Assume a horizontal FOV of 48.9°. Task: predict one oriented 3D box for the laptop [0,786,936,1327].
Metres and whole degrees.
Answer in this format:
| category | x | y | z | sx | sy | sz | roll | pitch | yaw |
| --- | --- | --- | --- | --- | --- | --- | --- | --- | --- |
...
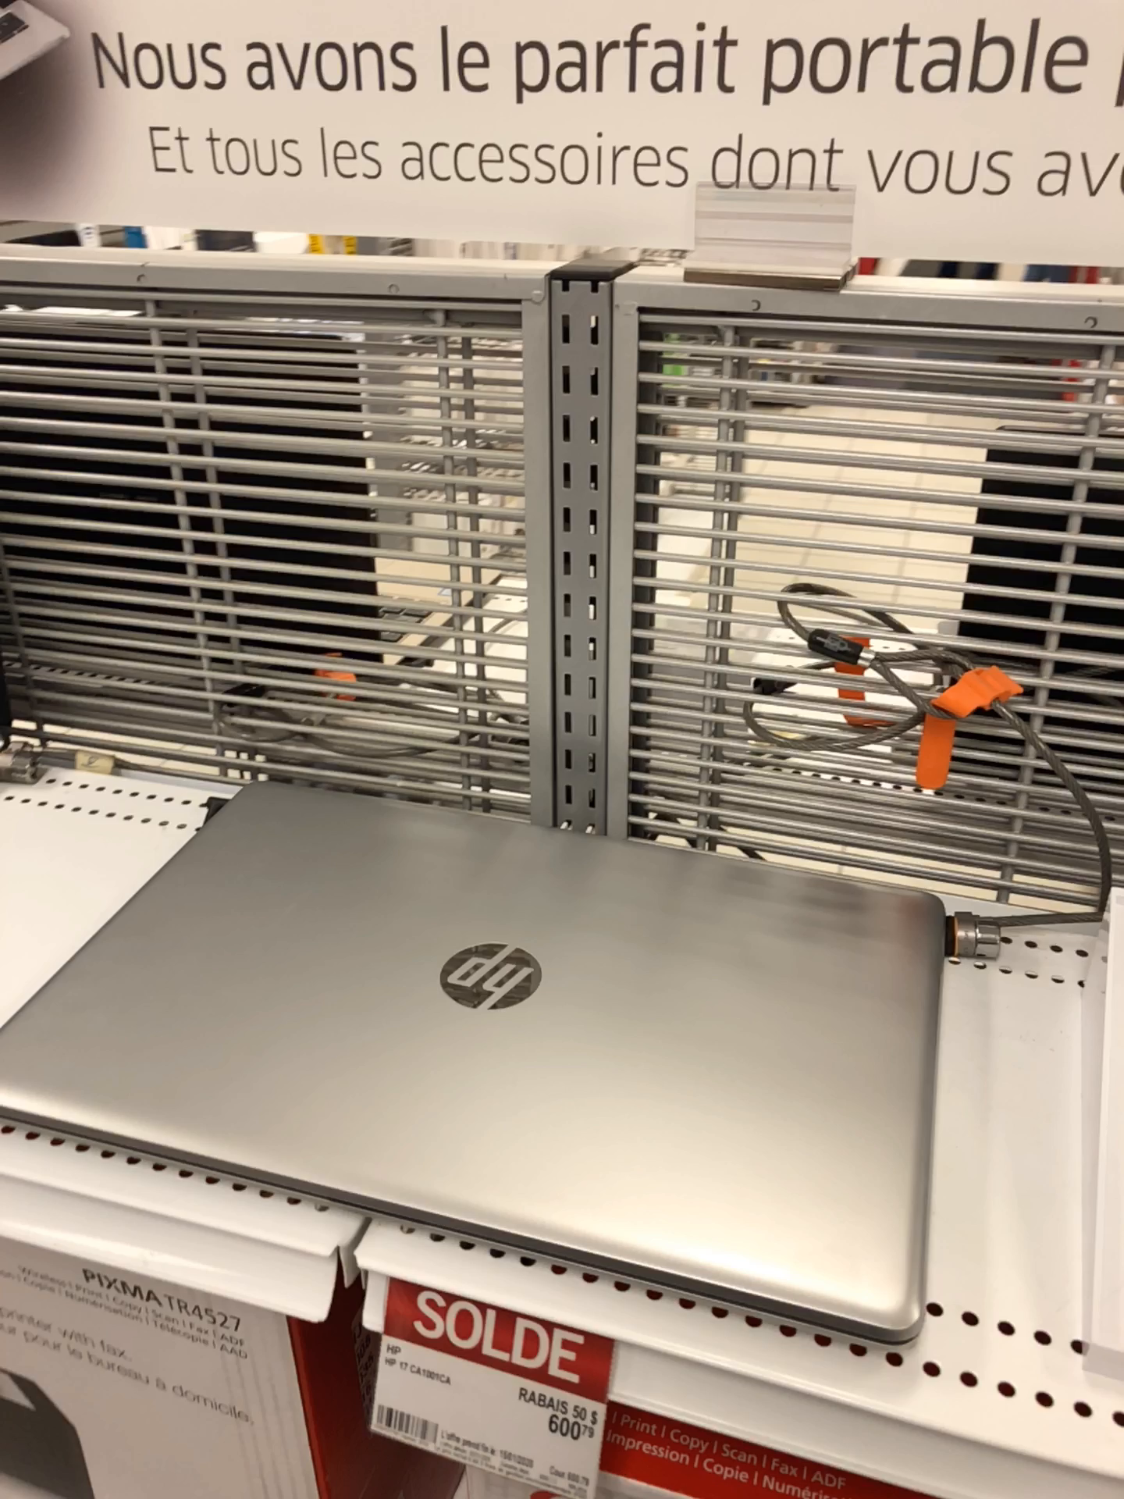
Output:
| category | x | y | z | sx | sy | sz | roll | pitch | yaw |
| --- | --- | --- | --- | --- | --- | --- | --- | --- | --- |
| laptop | -0.033 | 0.117 | 0.621 | 0.416 | 0.002 | 0.277 | 8 | 30 | 16 |
